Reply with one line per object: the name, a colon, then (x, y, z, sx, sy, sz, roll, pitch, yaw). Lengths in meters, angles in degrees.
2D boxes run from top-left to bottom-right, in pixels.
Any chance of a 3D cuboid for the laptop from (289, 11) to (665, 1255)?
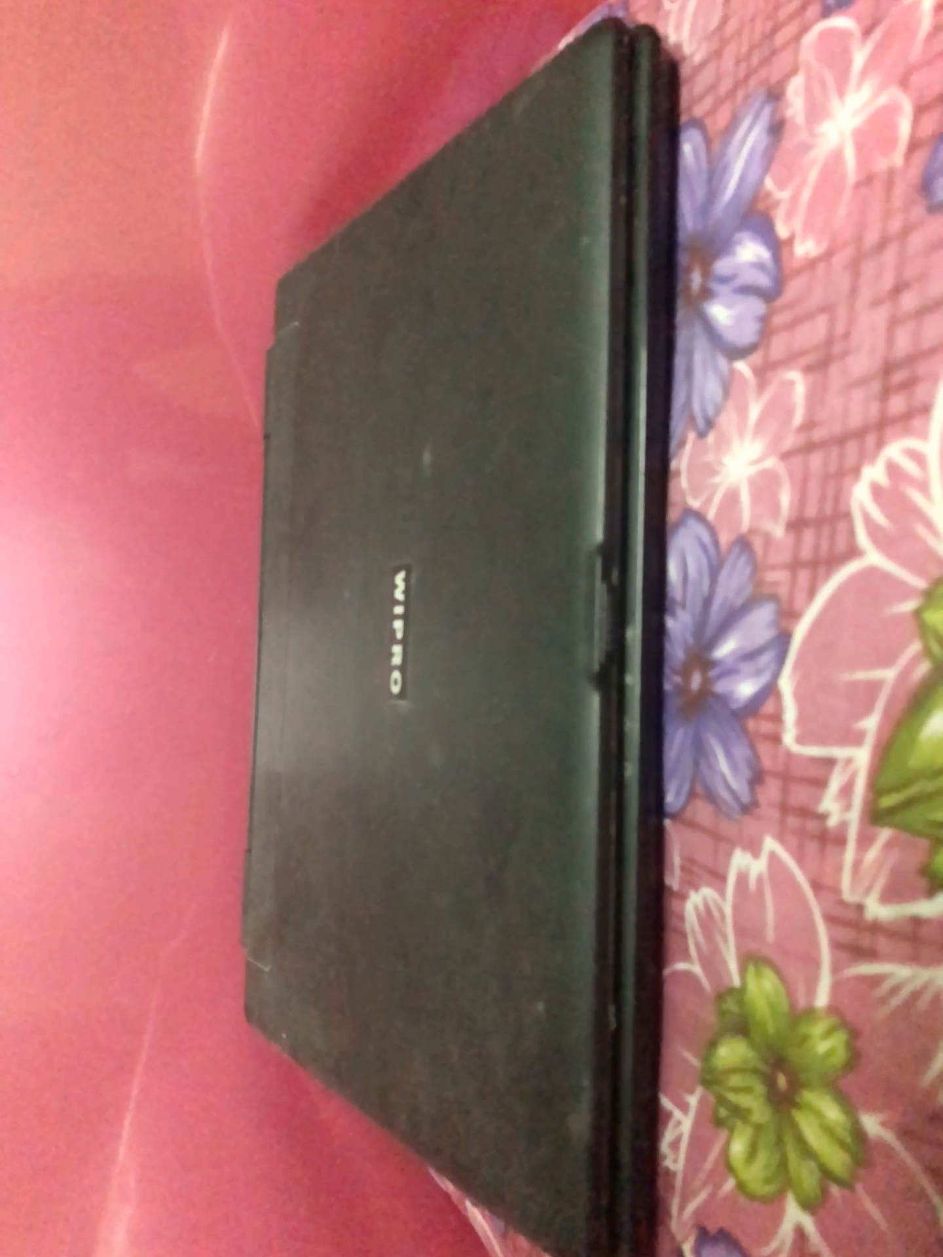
laptop: (-0.013, -0.001, 0.362, 0.221, 0.006, 0.322, -3, 84, 58)
